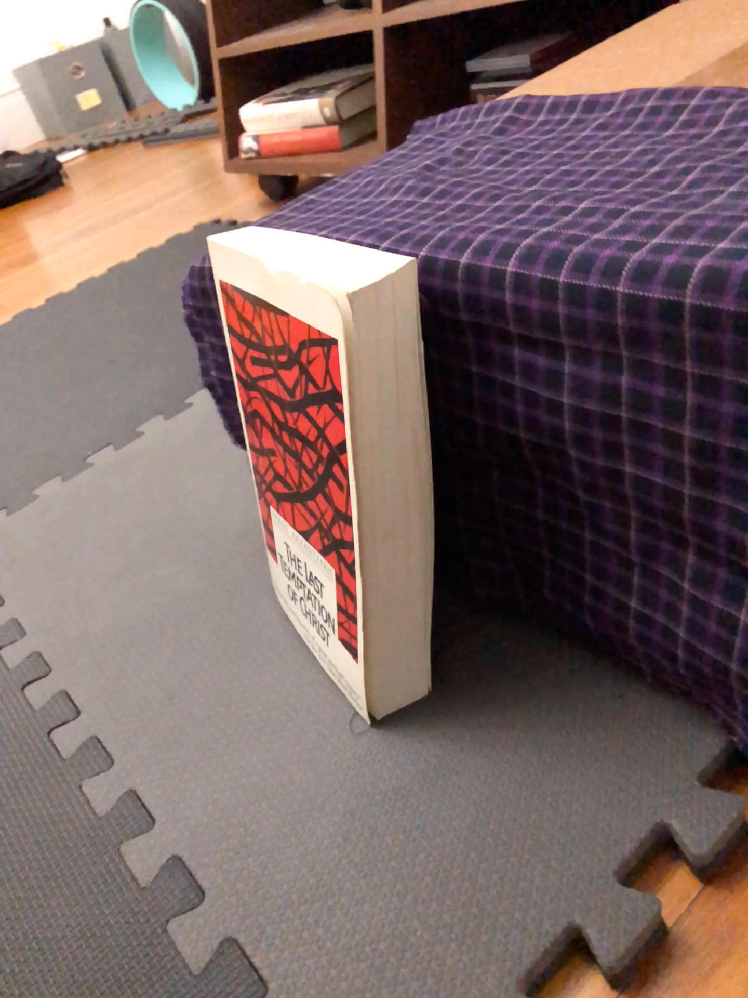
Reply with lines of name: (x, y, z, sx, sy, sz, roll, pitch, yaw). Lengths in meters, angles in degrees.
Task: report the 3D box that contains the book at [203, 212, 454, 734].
book: (-0.024, -0.021, 0.404, 0.050, 0.209, 0.151, -16, 27, -15)
